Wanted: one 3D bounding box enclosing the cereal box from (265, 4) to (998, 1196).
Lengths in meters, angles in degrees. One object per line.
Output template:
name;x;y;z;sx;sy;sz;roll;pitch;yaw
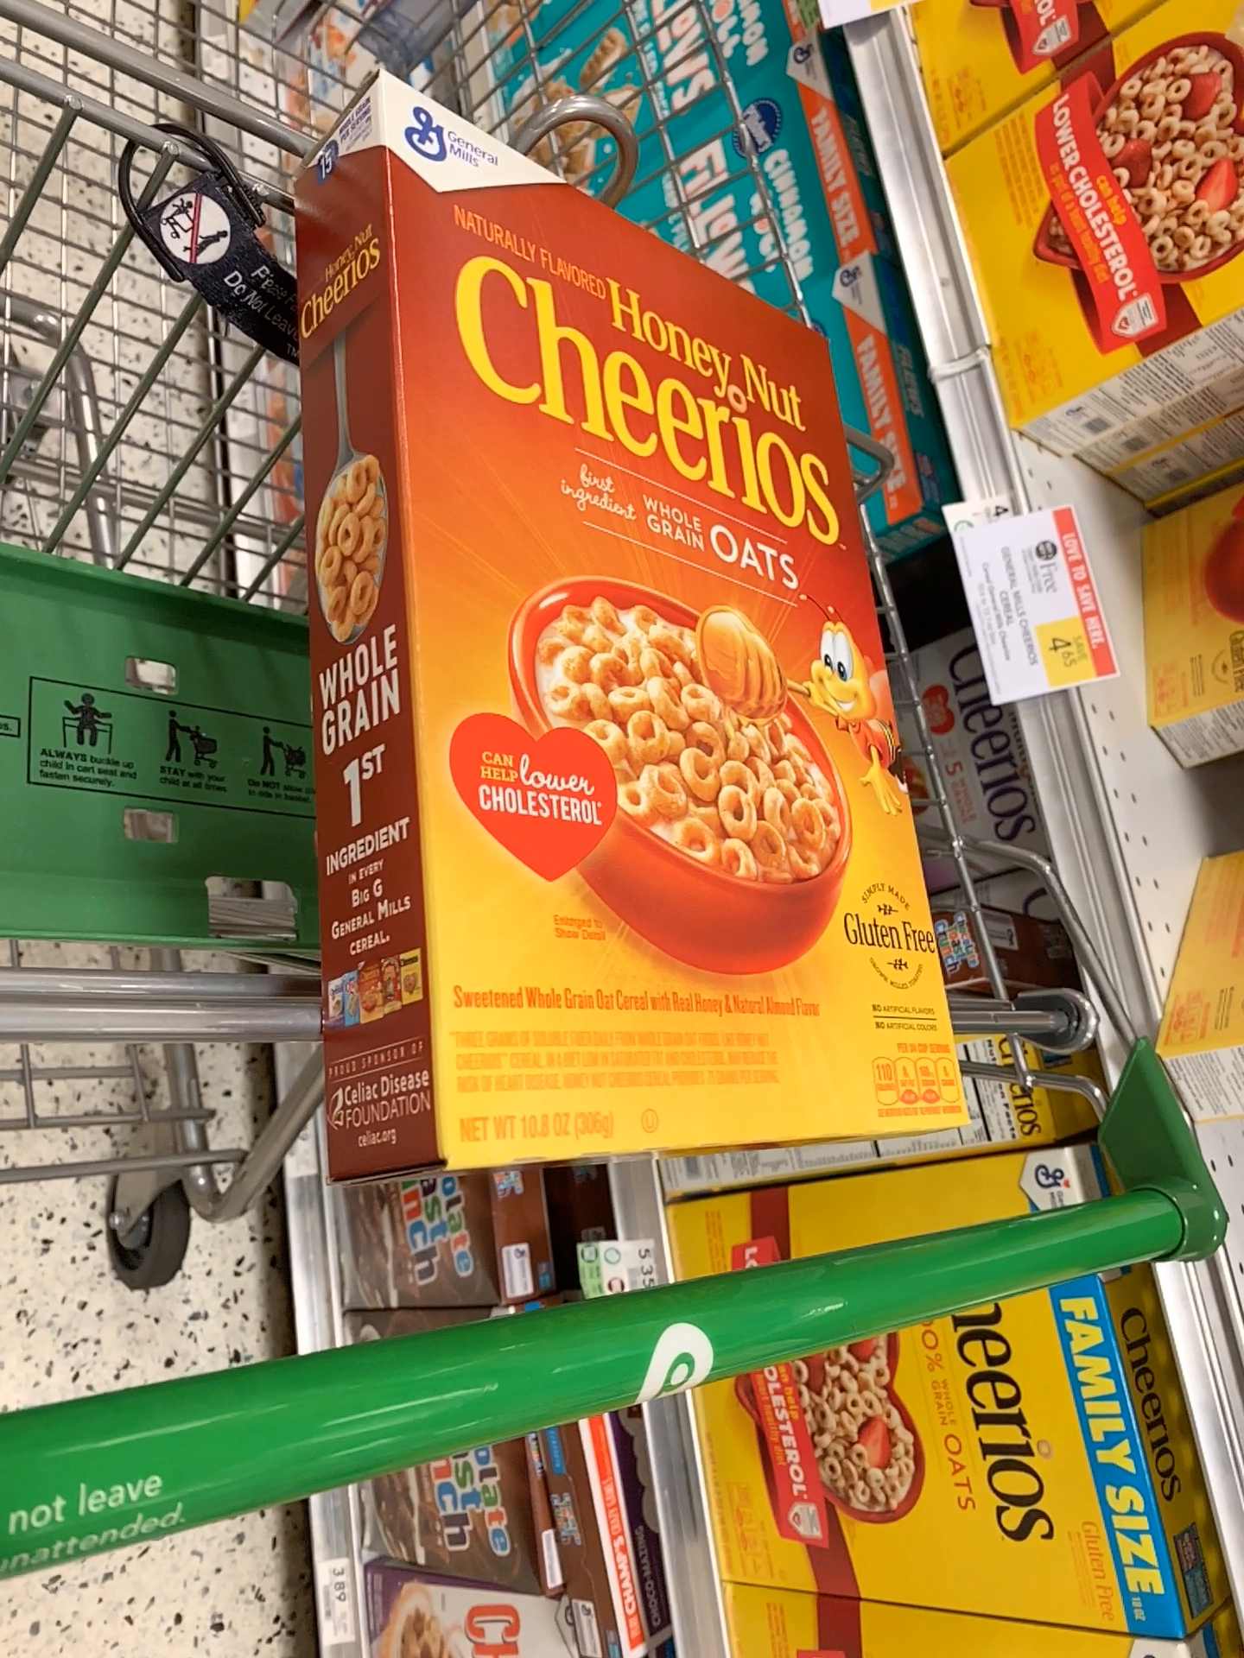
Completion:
cereal box;0.005;-0.053;0.378;0.201;0.059;0.291;9;68;-43
